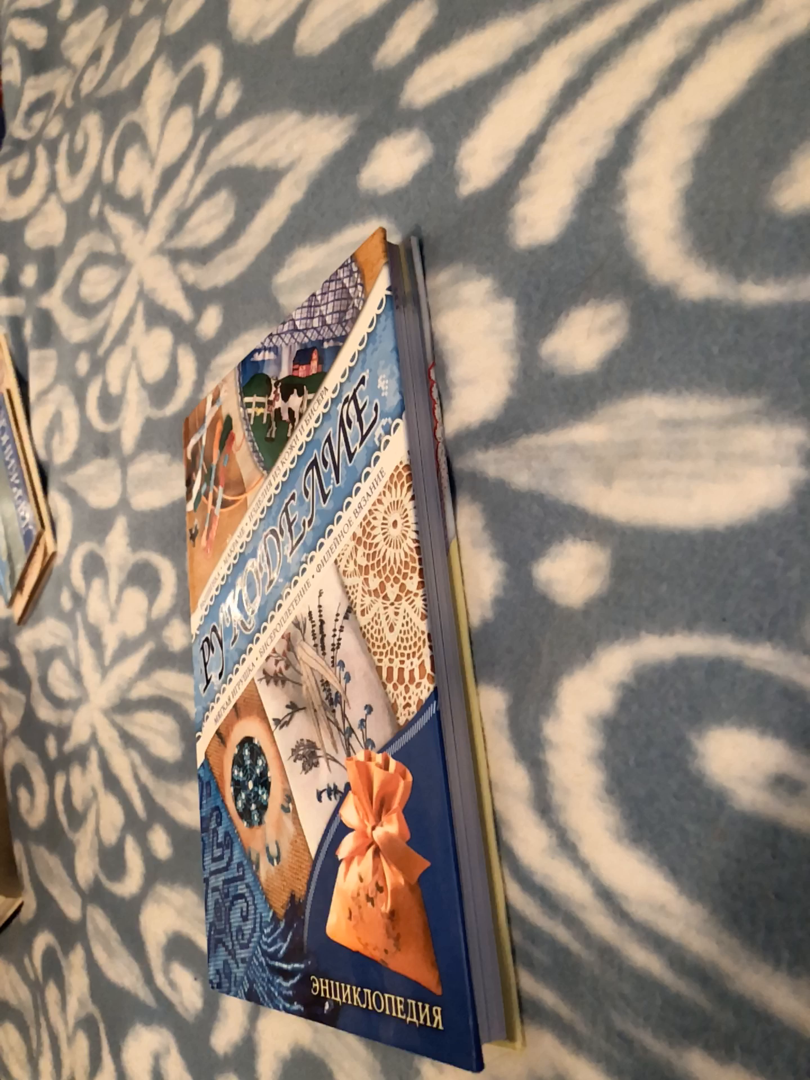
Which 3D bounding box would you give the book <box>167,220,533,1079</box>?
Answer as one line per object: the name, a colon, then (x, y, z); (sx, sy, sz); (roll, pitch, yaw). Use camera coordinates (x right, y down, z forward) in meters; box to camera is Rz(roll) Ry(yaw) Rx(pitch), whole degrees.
book: (-0.037, 0.041, 0.312); (0.169, 0.020, 0.237); (-25, 66, 51)
